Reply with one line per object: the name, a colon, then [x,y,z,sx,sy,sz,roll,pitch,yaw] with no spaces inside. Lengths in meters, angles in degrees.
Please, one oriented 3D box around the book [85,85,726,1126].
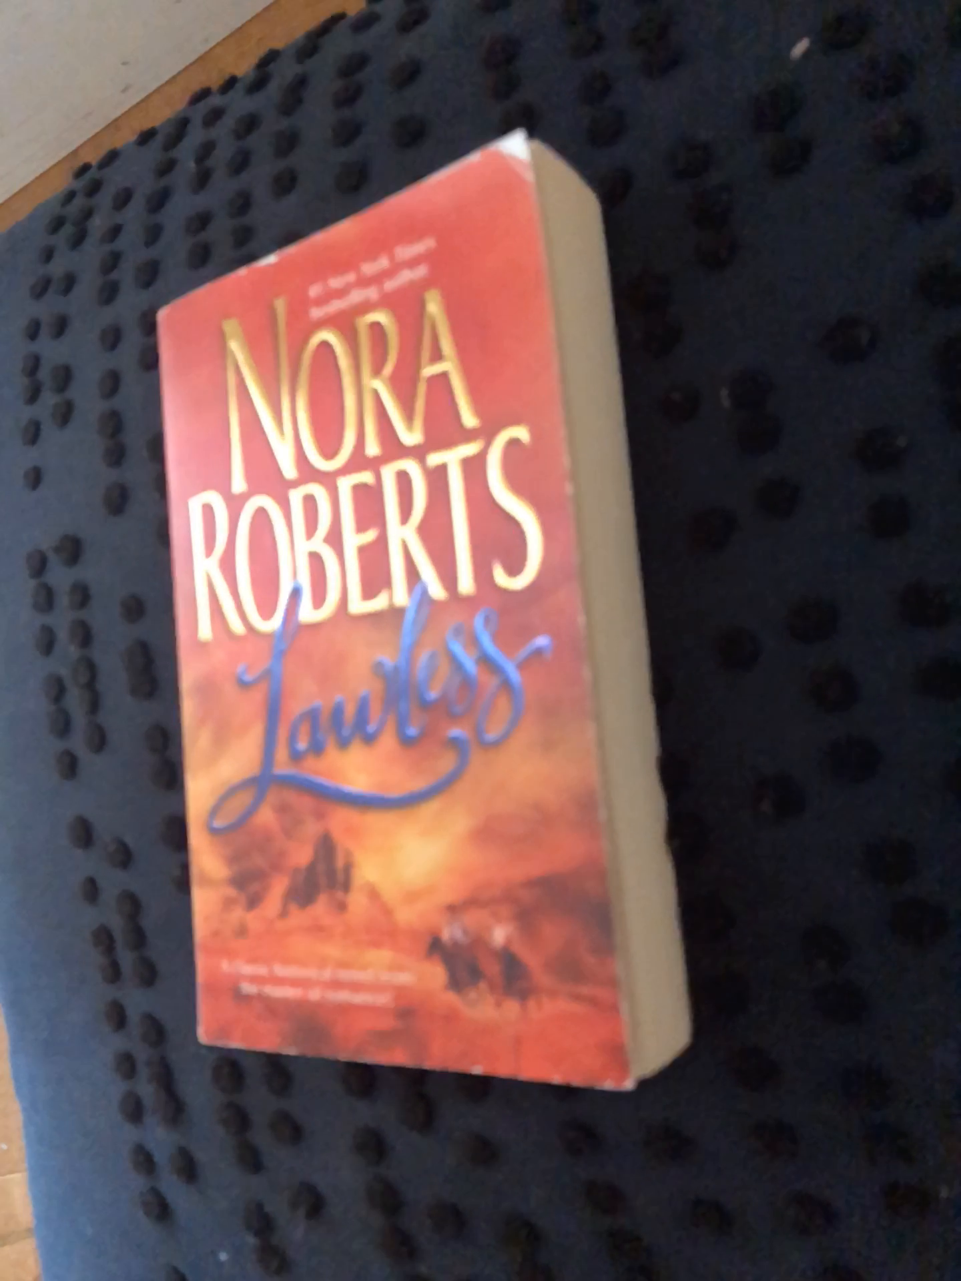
book: [-0.022,-0.002,0.224,0.120,0.040,0.180,-8,83,27]
